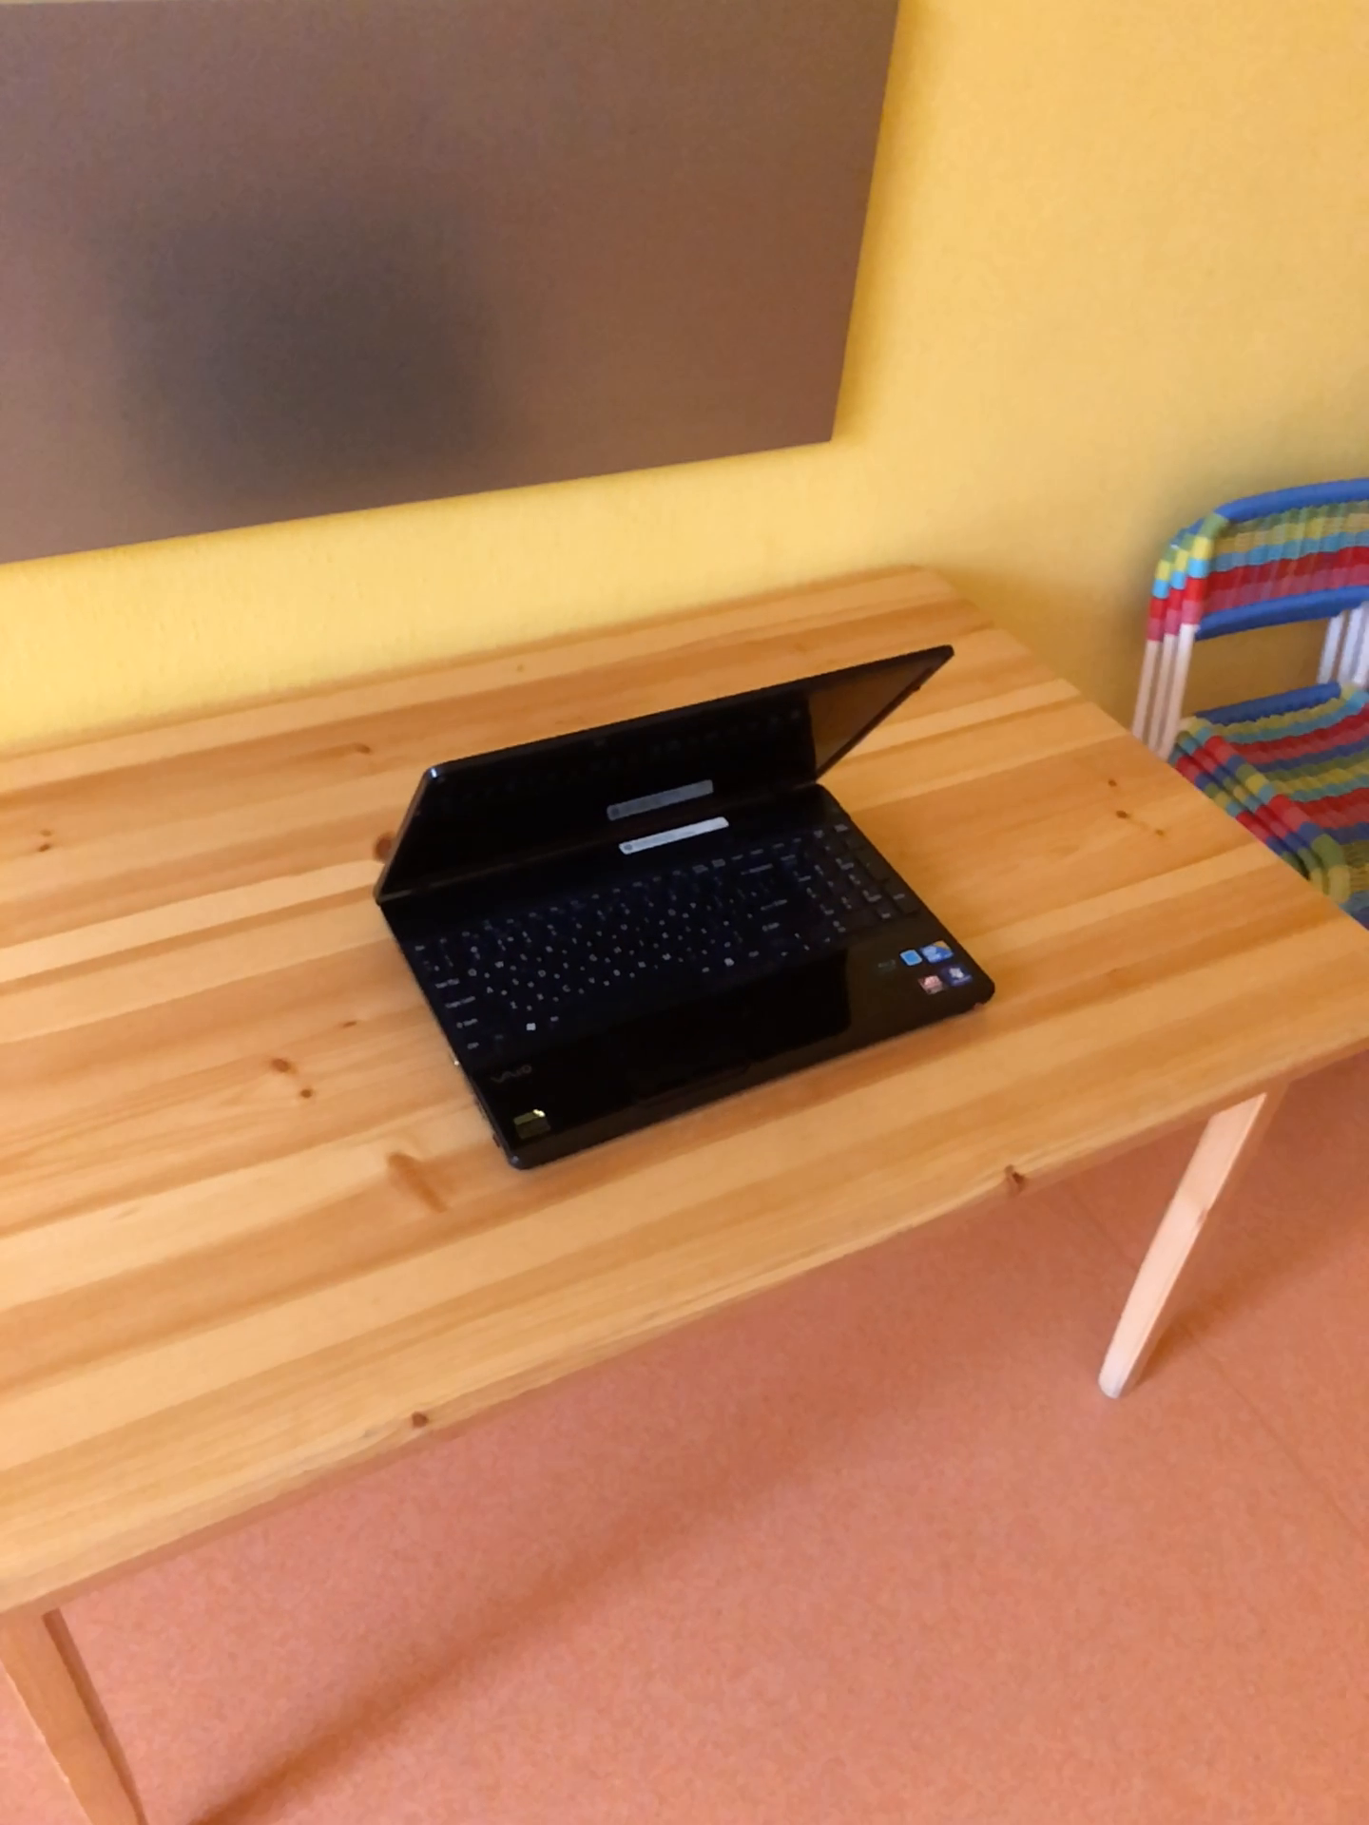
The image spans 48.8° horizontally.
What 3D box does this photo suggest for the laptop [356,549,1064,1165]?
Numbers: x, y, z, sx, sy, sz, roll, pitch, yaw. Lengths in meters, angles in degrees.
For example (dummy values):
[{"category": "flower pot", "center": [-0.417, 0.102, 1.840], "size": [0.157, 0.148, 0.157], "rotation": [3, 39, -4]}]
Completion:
[{"category": "laptop", "center": [0.008, -0.053, 0.982], "size": [0.362, 0.200, 0.248], "rotation": [-17, 47, -24]}]
